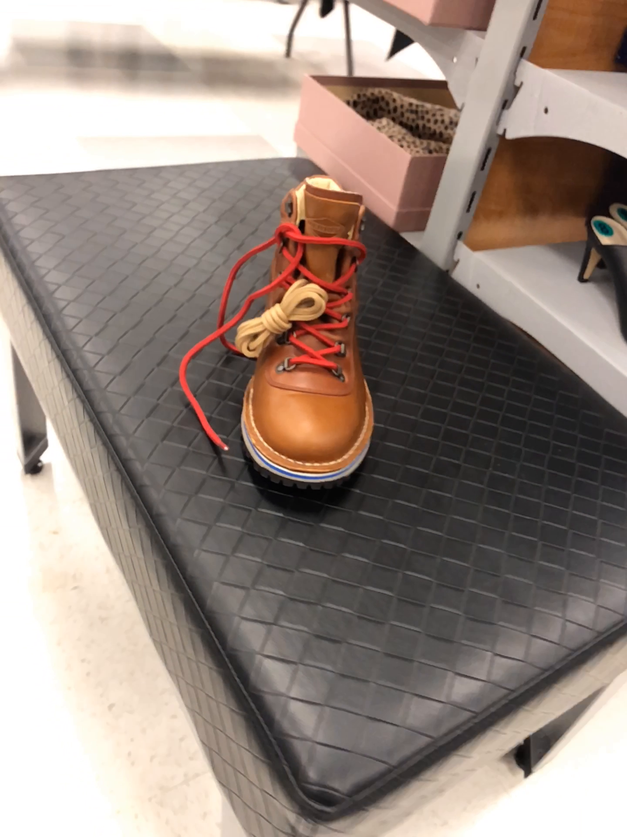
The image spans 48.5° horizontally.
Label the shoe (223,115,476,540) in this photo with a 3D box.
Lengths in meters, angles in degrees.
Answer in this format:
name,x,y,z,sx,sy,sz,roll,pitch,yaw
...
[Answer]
name,x,y,z,sx,sy,sz,roll,pitch,yaw
shoe,0.014,-0.086,0.551,0.122,0.180,0.299,9,41,-7
